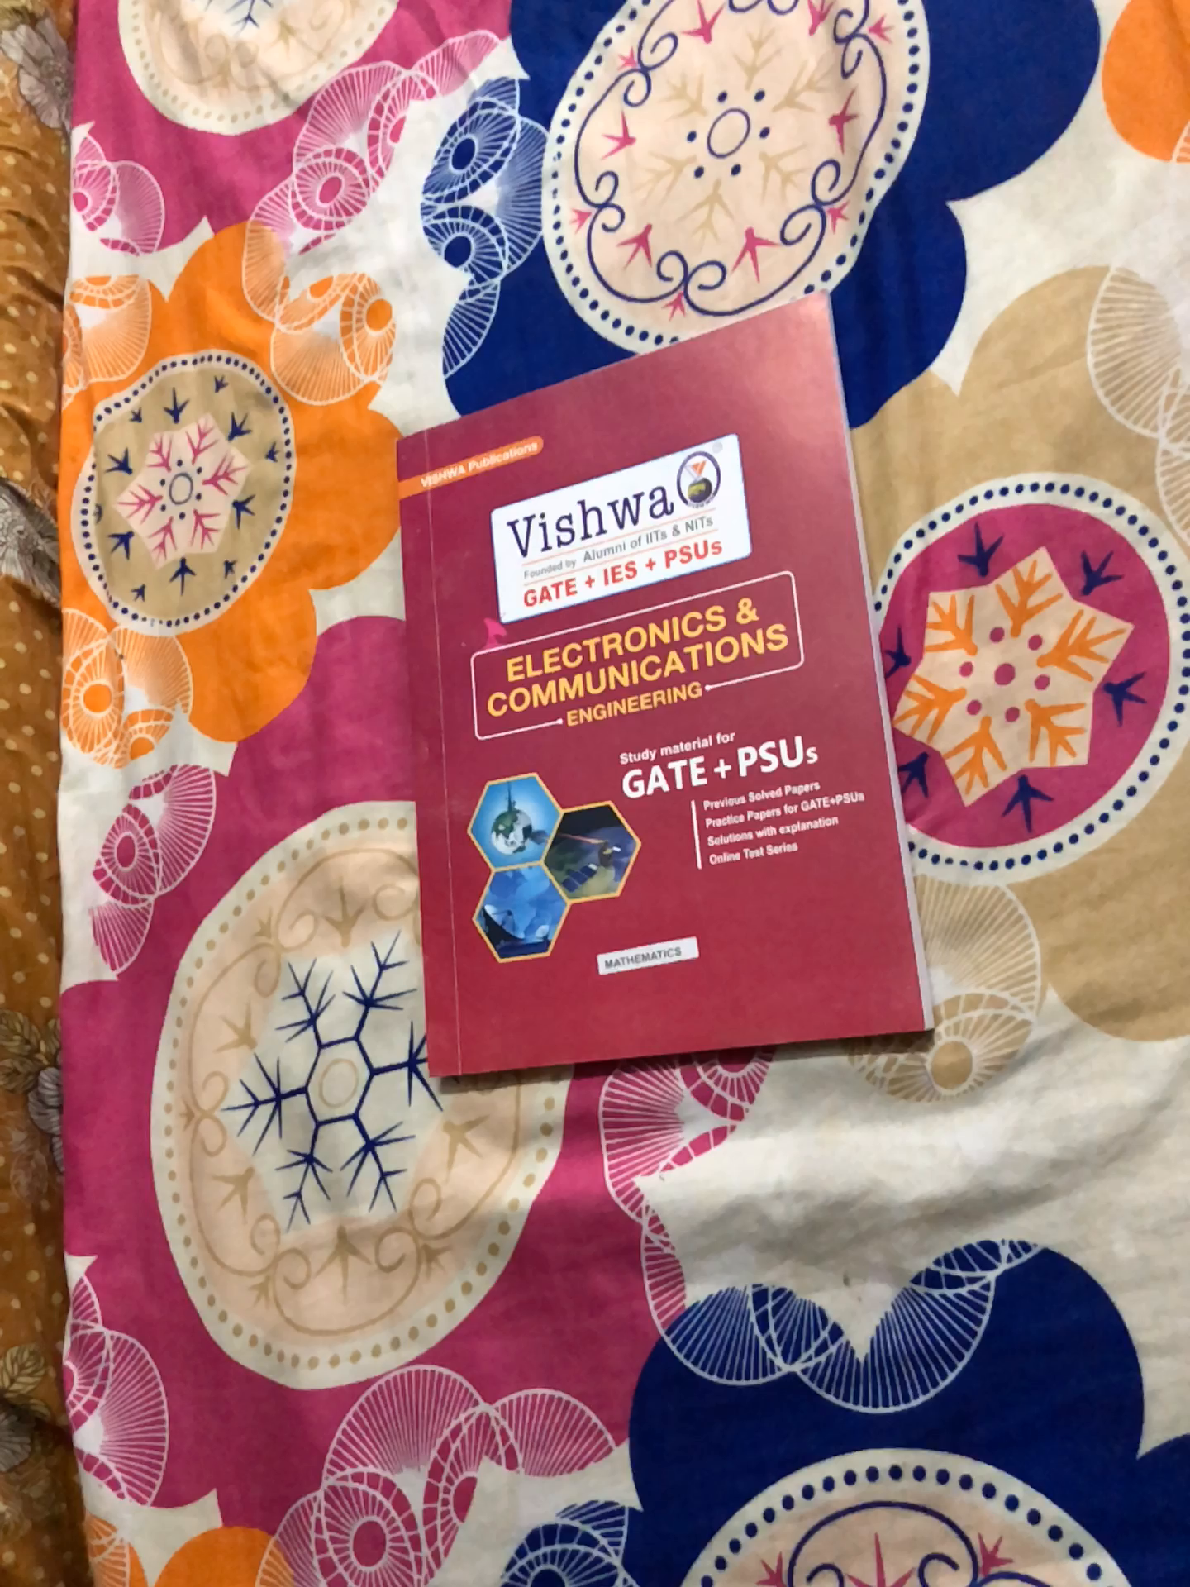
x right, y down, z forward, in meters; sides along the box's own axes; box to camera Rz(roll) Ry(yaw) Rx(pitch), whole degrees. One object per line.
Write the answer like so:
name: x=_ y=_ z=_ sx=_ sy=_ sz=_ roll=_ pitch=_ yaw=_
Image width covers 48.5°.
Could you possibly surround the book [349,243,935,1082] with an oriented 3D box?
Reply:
book: x=0.004 y=-0.046 z=0.529 sx=0.217 sy=0.030 sz=0.300 roll=-10 pitch=75 yaw=24
